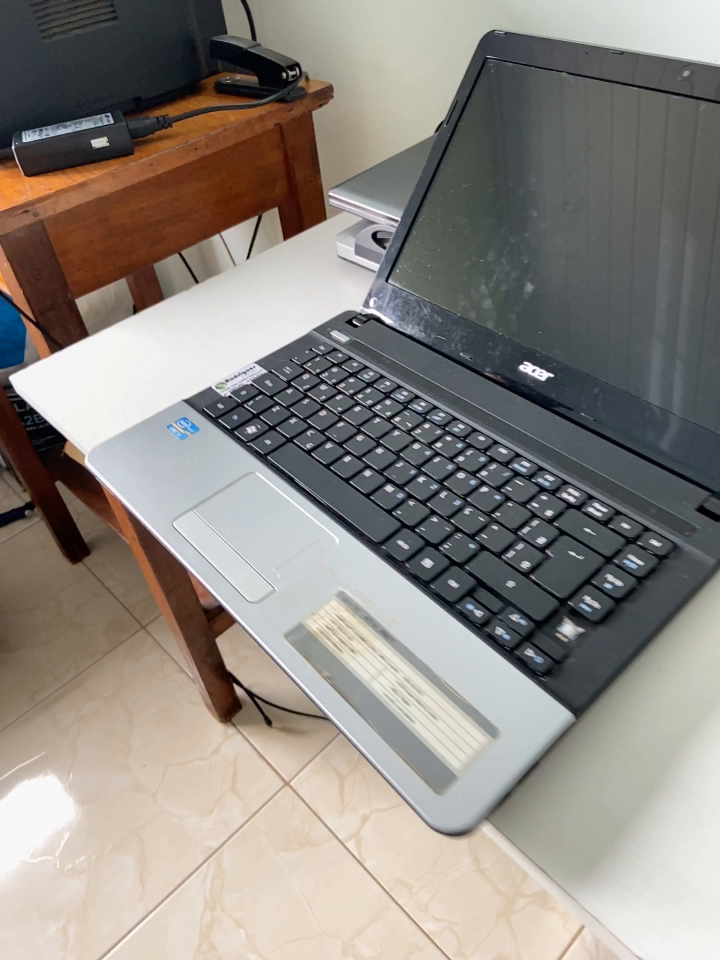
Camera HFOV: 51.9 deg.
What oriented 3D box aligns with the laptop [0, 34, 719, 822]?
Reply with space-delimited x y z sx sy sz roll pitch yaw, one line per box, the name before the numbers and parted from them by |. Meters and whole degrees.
laptop | 0.065 -0.098 0.432 0.396 0.163 0.333 -34 50 -26
